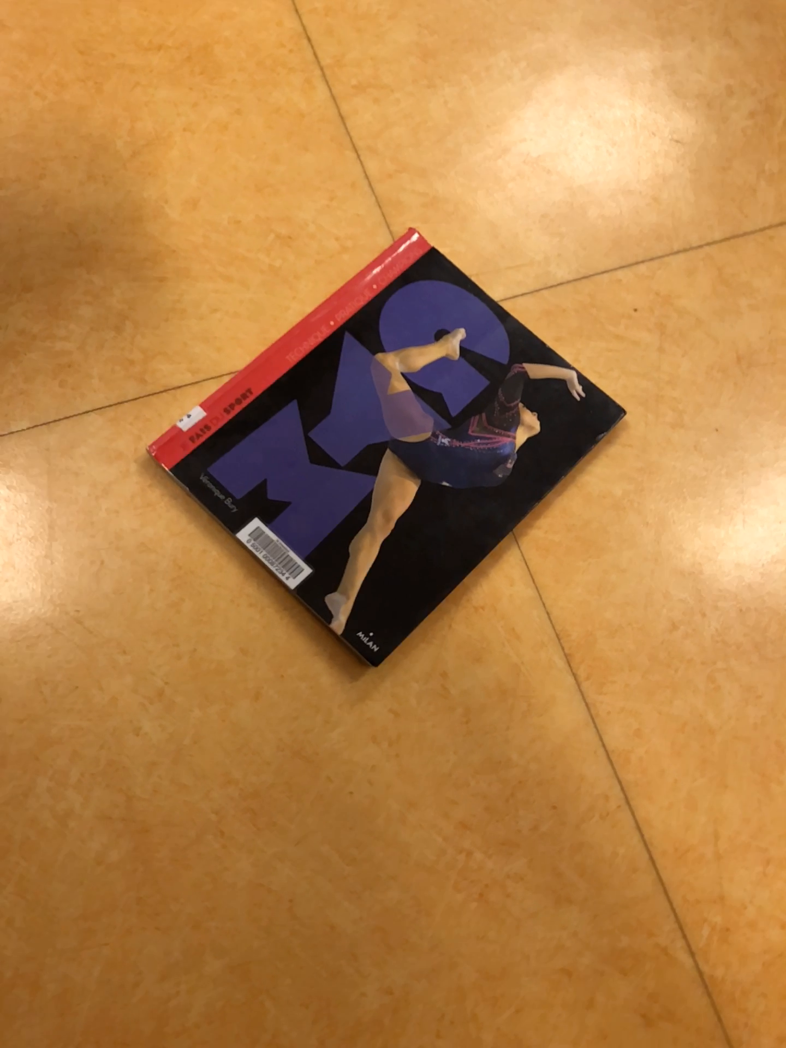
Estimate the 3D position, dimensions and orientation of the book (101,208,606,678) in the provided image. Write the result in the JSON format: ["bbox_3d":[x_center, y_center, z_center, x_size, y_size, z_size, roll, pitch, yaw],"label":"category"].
[{"bbox_3d":[-0.019,-0.059,0.531,0.193,0.030,0.234,43,72,9],"label":"book"}]
